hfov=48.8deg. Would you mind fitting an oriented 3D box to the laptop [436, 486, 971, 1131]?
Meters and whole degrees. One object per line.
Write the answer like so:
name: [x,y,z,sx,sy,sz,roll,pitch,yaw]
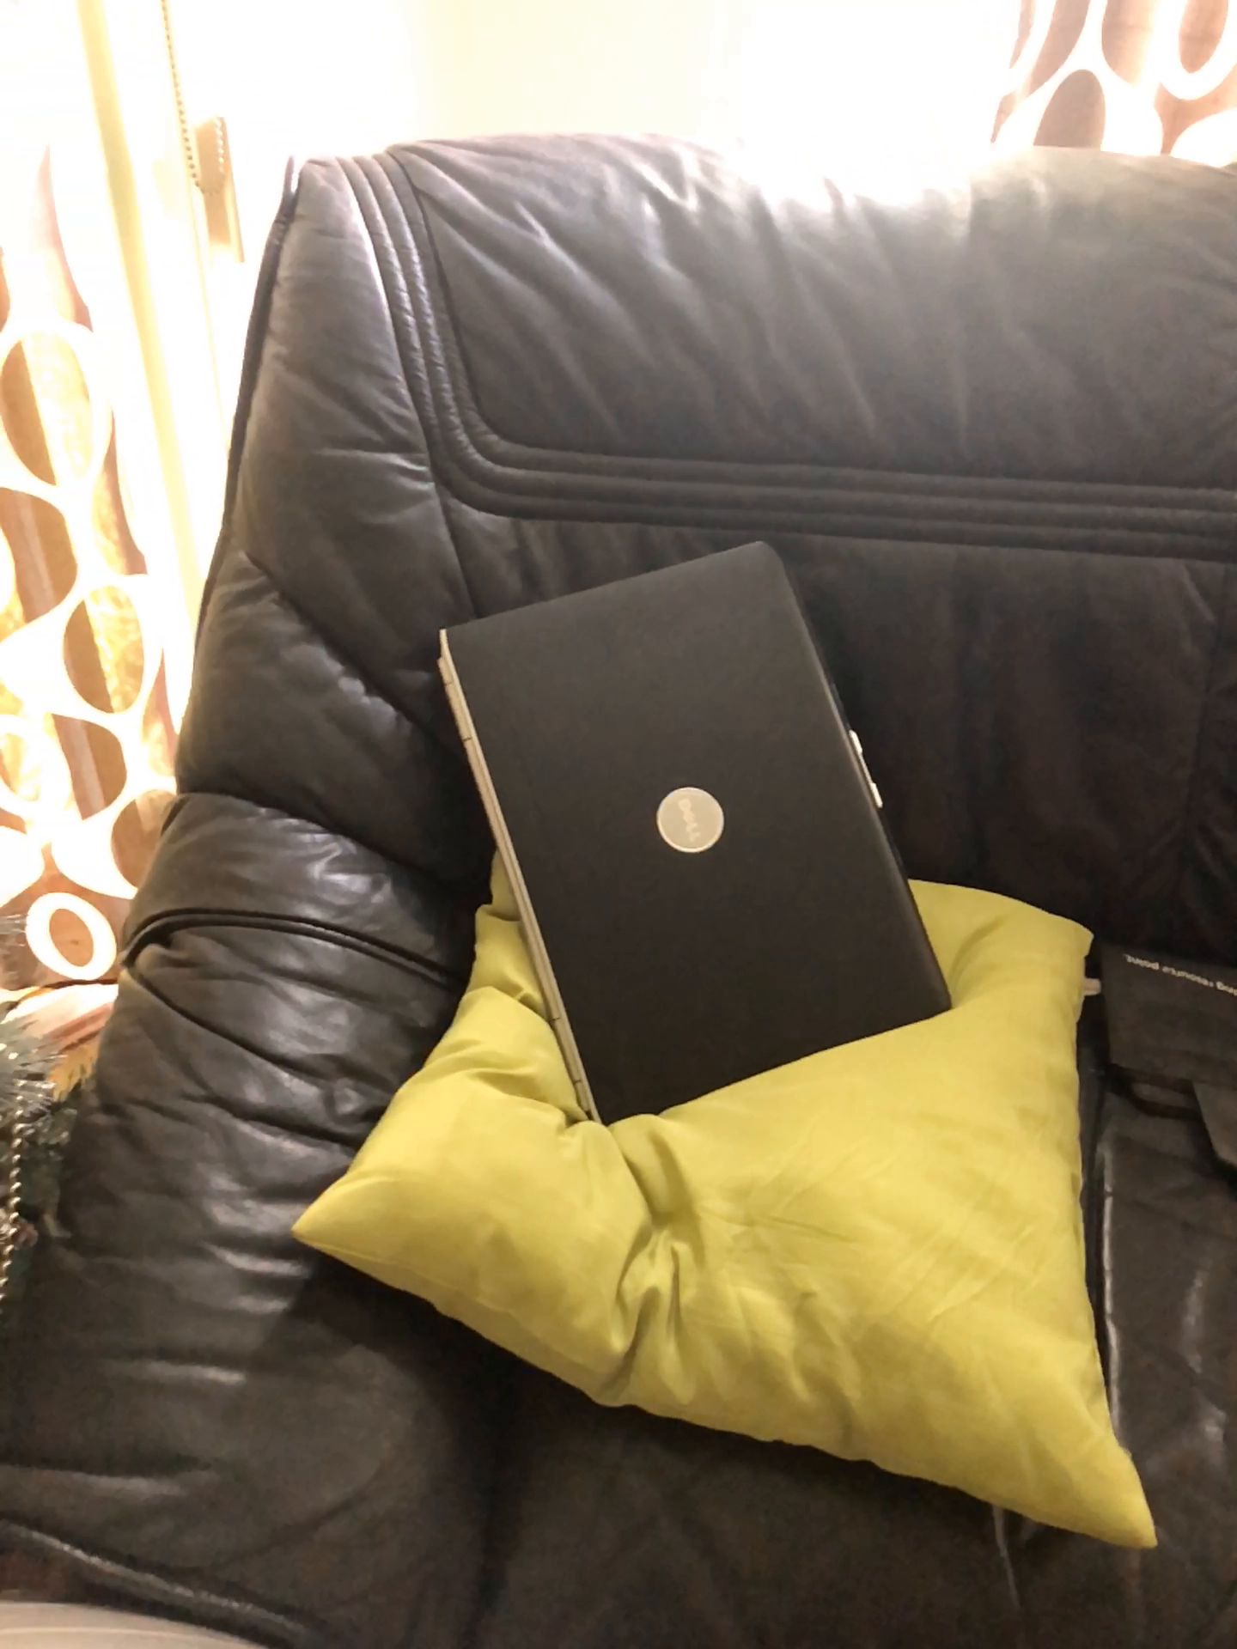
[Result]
laptop: [0.051,-0.020,0.890,0.247,0.033,0.345,-17,78,-9]
